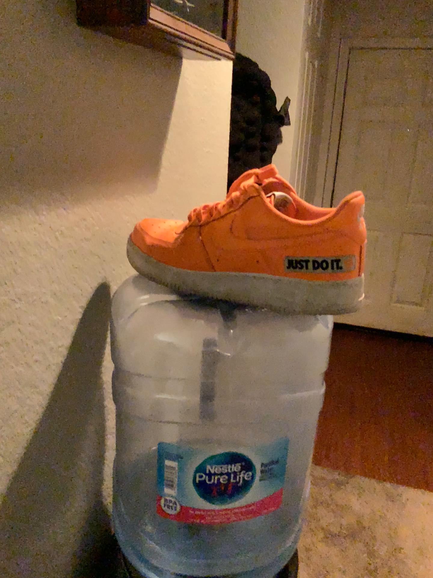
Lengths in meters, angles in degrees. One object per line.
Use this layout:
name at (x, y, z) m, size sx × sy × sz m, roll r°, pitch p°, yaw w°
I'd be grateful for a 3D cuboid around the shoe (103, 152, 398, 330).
shoe at (0.030, -0.072, 0.549) m, size 0.300 × 0.140 × 0.120 m, roll 12°, pitch 22°, yaw 26°
